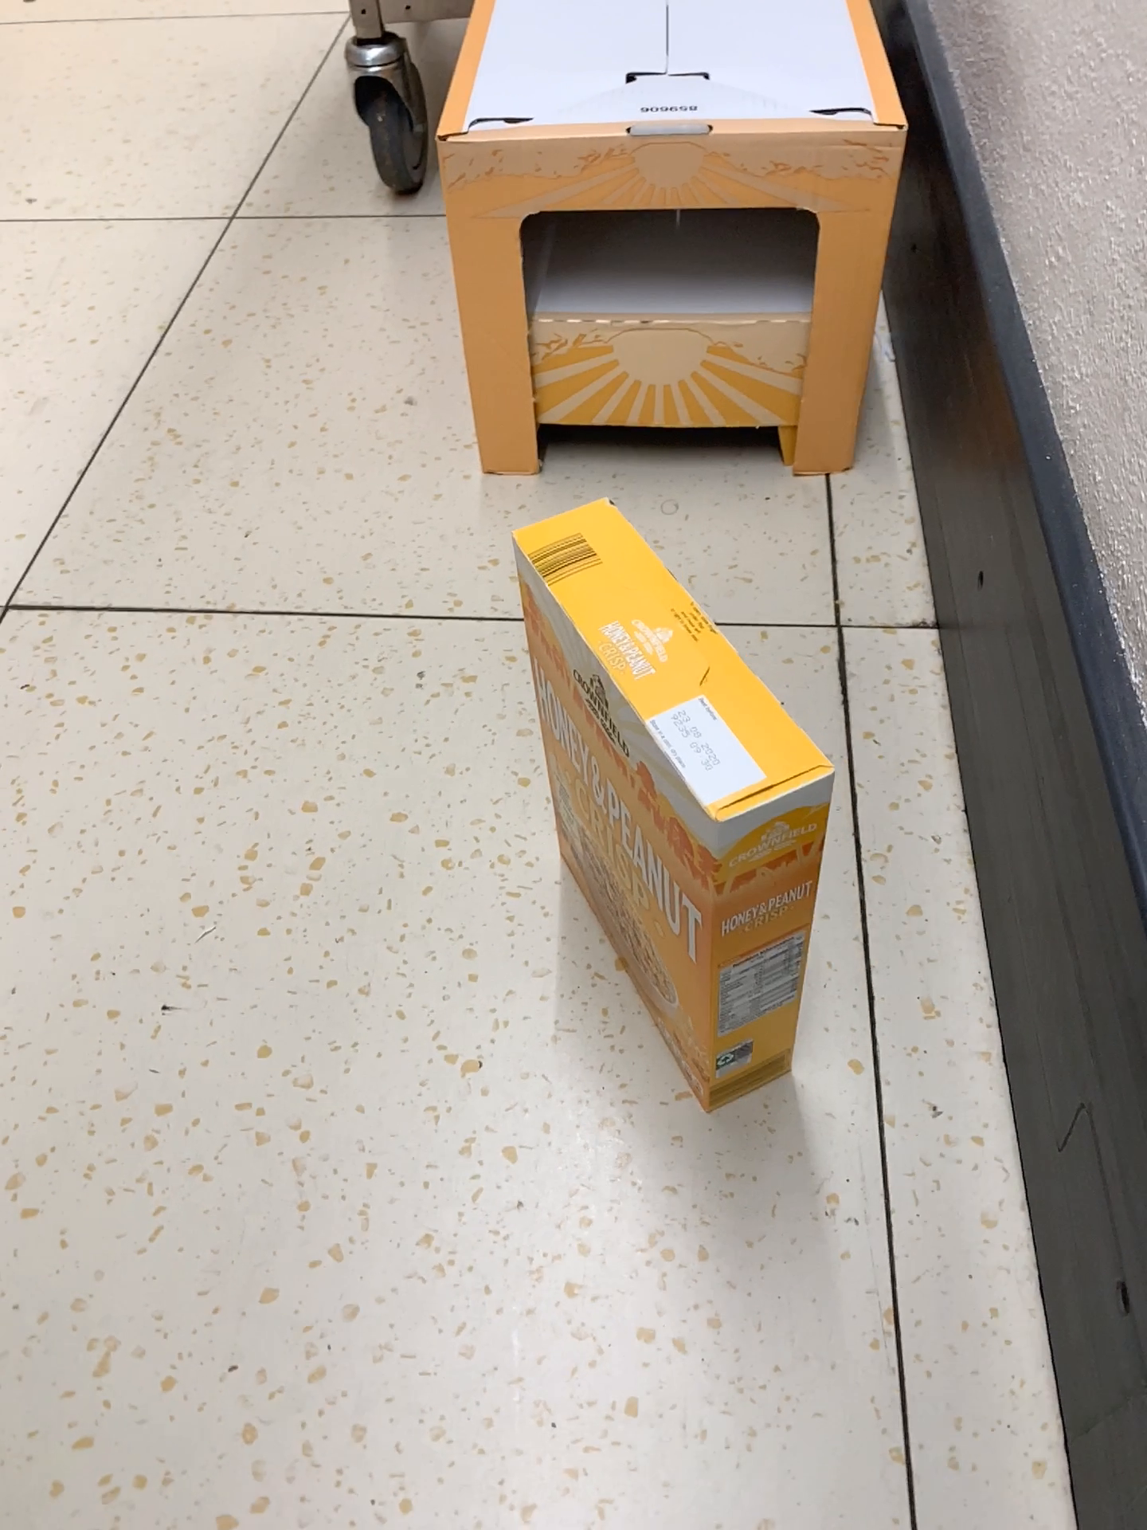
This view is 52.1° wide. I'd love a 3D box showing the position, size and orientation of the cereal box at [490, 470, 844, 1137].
[{"bbox_3d":[0.039,0.029,0.554,0.050,0.268,0.191,-23,52,-13],"label":"cereal box"}]
